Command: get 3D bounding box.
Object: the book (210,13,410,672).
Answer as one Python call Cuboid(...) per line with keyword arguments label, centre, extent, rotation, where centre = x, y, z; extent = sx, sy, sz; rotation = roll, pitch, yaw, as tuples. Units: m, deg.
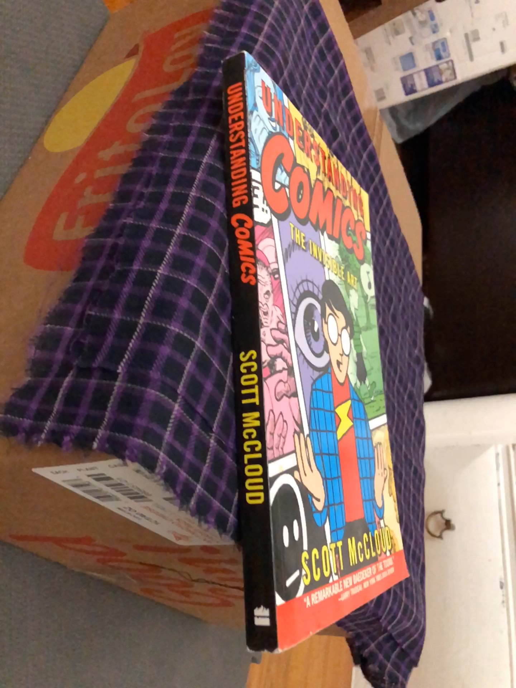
Cuboid(label="book", centre=(0.034, -0.002, 0.305), extent=(0.171, 0.020, 0.270), rotation=(21, 63, -59))
